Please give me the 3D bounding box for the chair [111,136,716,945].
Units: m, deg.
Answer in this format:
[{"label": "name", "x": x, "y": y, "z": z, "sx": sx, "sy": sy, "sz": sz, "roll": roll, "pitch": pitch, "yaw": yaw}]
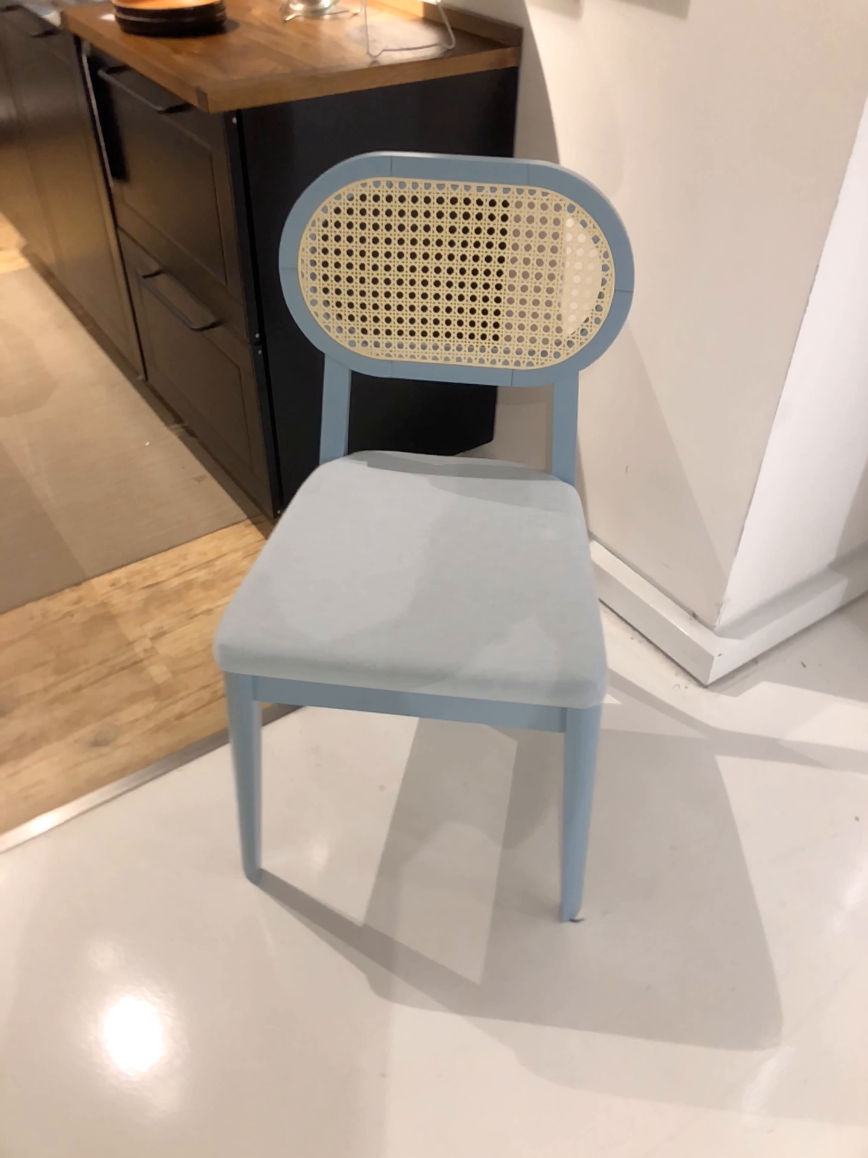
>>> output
[{"label": "chair", "x": 0.009, "y": -0.036, "z": 1.227, "sx": 0.480, "sy": 0.823, "sz": 0.564, "roll": 6, "pitch": 41, "yaw": 5}]
